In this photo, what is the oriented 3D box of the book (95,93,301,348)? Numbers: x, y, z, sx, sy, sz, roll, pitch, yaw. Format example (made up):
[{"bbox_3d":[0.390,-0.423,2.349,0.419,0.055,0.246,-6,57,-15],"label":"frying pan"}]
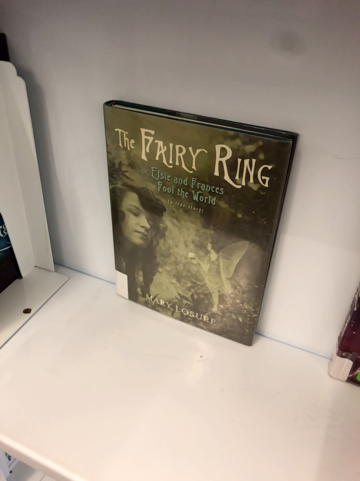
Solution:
[{"bbox_3d":[0.004,-0.013,0.339,0.150,0.190,0.028,17,34,20],"label":"book"}]
